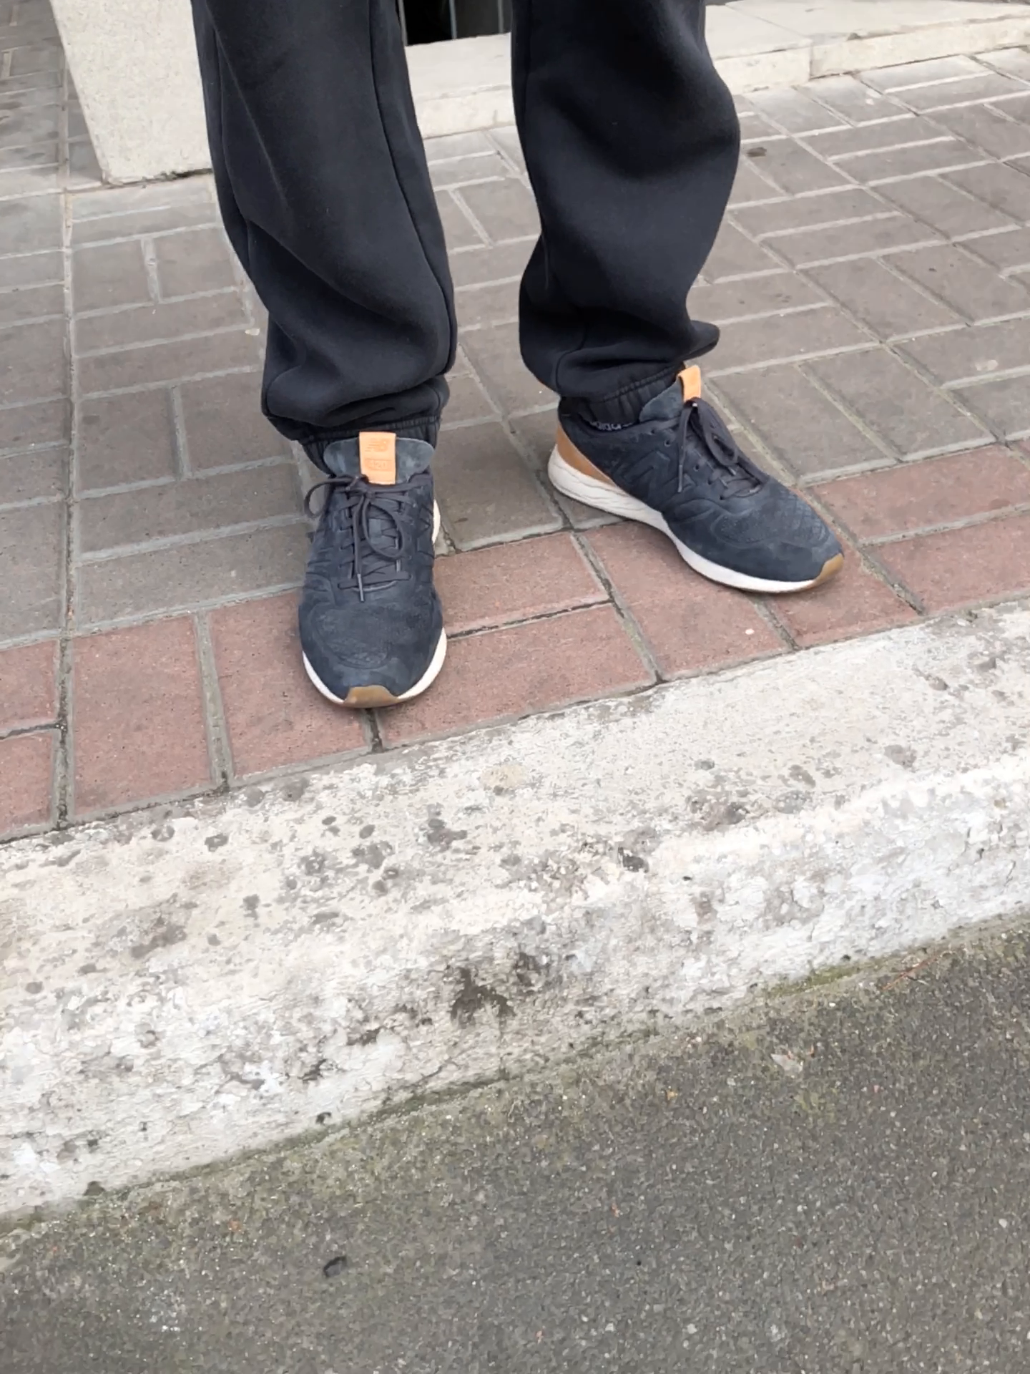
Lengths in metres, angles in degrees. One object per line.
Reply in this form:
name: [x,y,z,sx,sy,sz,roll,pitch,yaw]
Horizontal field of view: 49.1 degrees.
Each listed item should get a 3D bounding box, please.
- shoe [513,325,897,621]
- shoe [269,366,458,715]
shoe: [0.135,-0.176,0.876,0.105,0.109,0.281,-33,48,-30]
shoe: [-0.099,-0.118,0.822,0.104,0.109,0.282,-4,40,0]
